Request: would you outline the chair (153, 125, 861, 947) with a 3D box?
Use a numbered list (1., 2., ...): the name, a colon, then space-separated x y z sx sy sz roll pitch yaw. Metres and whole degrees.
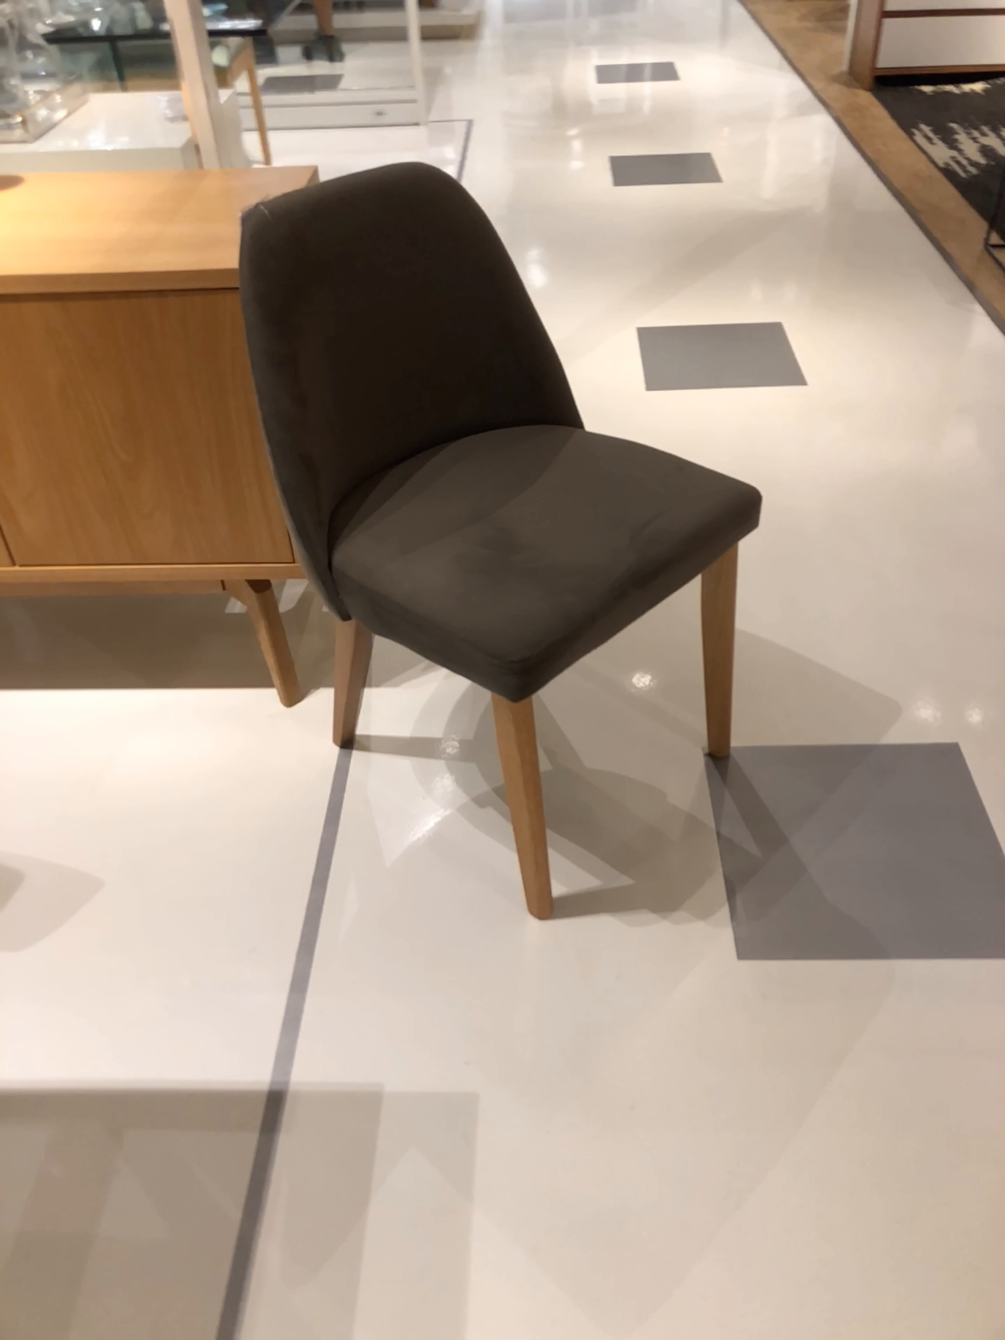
1. chair: 0.022 -0.197 1.436 0.562 0.774 0.532 30 50 35
